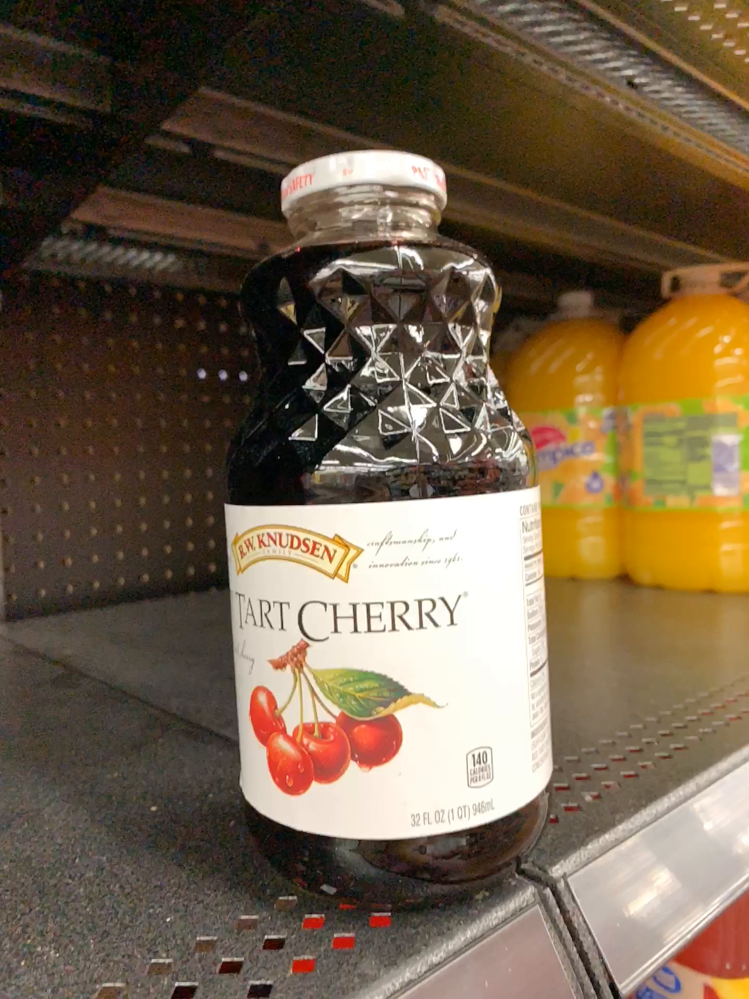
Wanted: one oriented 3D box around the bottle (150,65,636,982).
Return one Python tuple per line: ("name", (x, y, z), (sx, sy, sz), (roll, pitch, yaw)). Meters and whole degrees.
("bottle", (0.012, 0.004, 0.244), (0.100, 0.200, 0.110), (-2, 3, 0))
